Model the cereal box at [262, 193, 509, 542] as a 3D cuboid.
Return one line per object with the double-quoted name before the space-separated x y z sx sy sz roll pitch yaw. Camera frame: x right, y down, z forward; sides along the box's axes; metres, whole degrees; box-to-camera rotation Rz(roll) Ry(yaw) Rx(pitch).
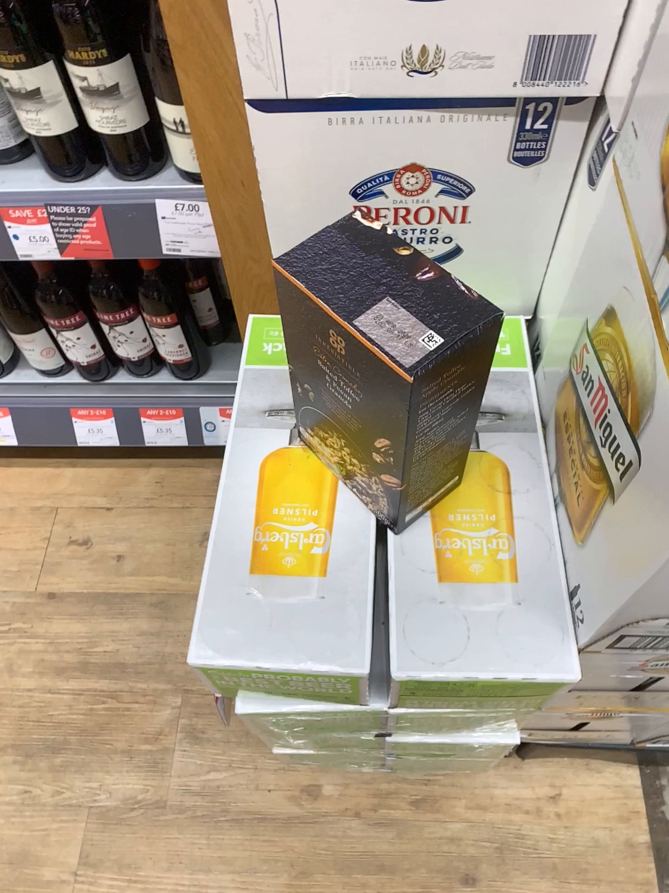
"cereal box" 0.031 -0.043 0.479 0.080 0.209 0.121 -37 63 -19
